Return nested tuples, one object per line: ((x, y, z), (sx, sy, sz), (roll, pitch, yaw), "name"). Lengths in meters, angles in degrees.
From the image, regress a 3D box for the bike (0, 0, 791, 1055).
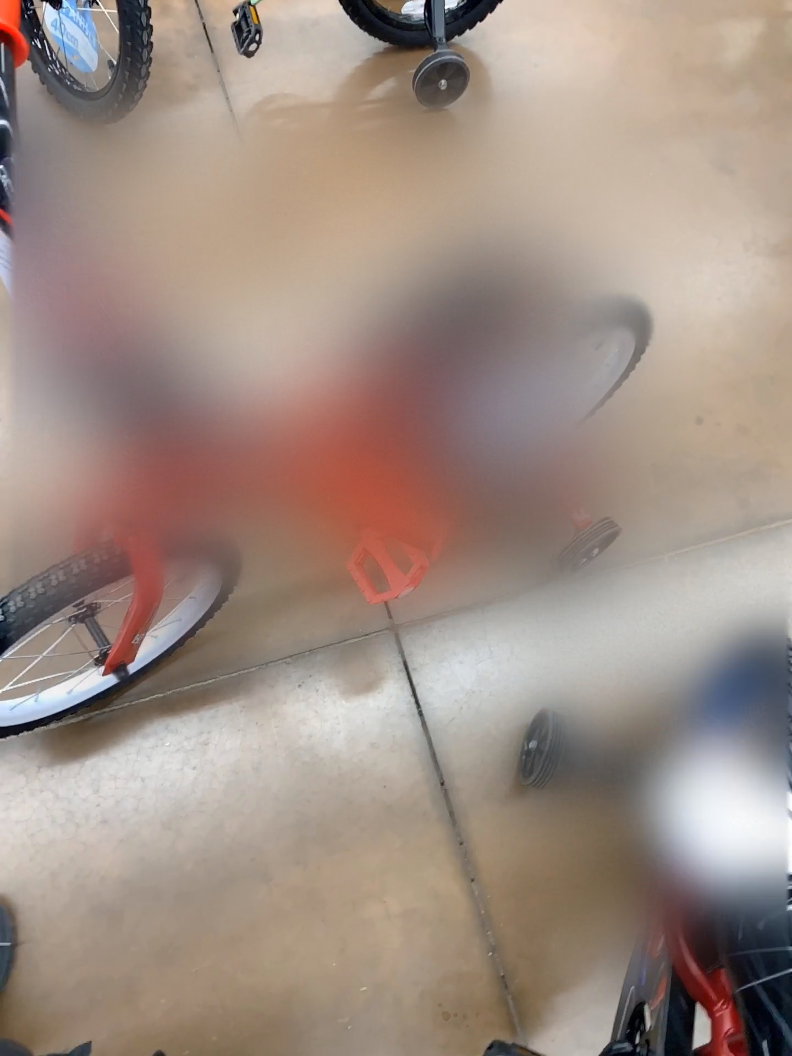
((-0.028, -0.091, 0.900), (1.069, 0.852, 0.586), (-29, 72, -18), "bike")
